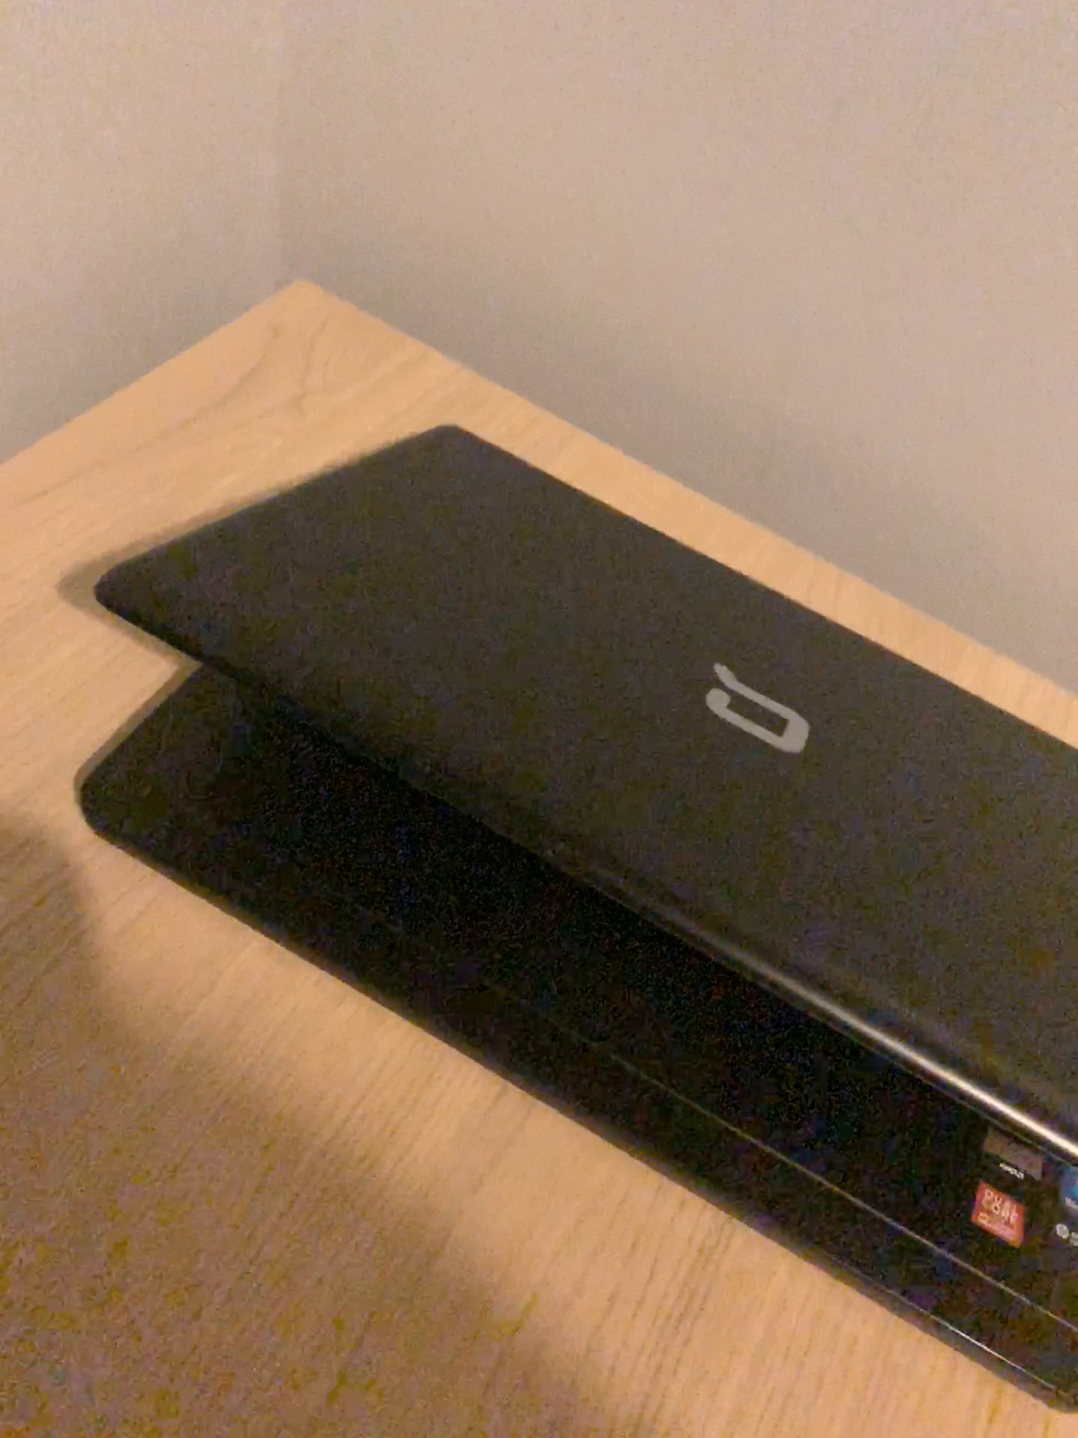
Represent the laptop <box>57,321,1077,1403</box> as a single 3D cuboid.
[{"bbox_3d":[0.065,0.019,0.394,0.373,0.064,0.225,29,54,8],"label":"laptop"}]
